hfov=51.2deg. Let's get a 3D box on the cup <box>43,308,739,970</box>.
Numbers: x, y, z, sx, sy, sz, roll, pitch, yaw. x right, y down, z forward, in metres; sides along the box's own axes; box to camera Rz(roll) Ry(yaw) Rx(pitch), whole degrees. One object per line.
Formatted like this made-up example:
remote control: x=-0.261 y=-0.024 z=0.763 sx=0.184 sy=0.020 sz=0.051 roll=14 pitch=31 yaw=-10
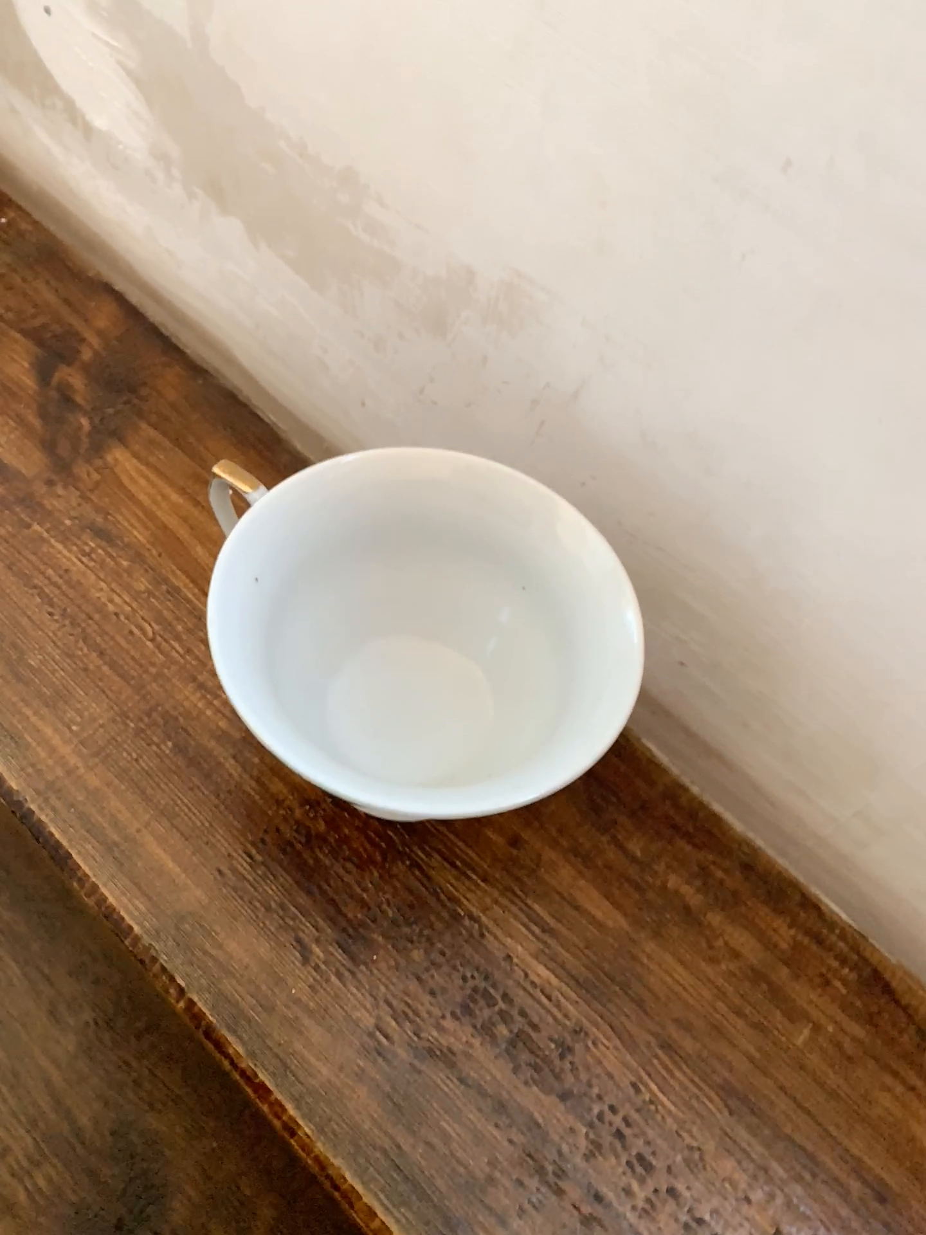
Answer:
cup: x=-0.018 y=0.000 z=0.234 sx=0.123 sy=0.058 sz=0.091 roll=40 pitch=59 yaw=16
